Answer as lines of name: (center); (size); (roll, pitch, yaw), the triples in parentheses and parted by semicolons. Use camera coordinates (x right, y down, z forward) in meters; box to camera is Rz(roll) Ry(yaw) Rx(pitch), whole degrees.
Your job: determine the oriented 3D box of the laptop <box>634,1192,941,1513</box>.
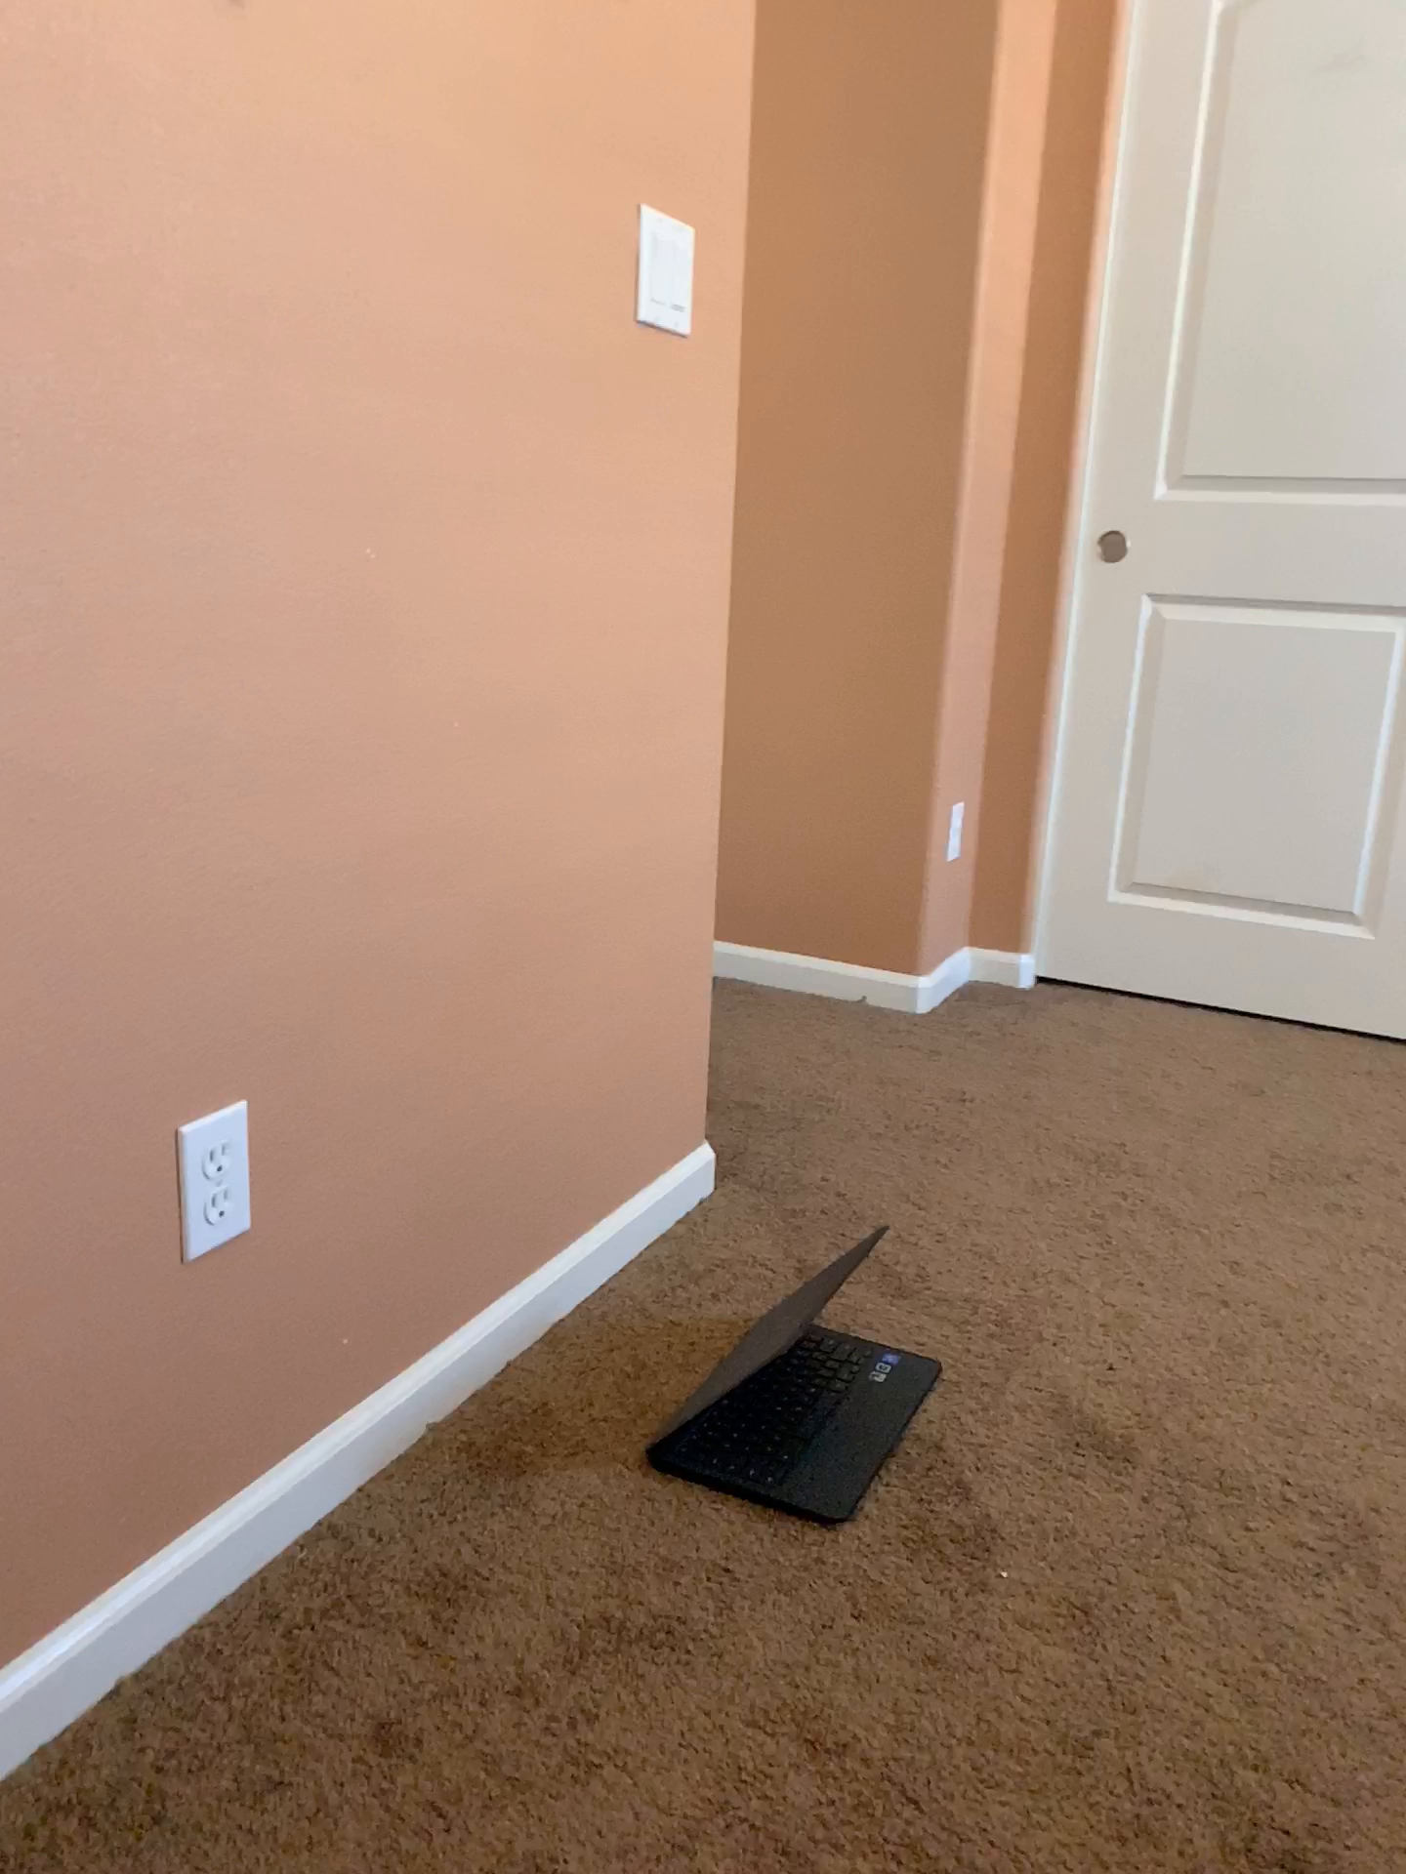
laptop: (0.091, 0.392, 1.410); (0.192, 0.140, 0.293); (11, 16, 24)
